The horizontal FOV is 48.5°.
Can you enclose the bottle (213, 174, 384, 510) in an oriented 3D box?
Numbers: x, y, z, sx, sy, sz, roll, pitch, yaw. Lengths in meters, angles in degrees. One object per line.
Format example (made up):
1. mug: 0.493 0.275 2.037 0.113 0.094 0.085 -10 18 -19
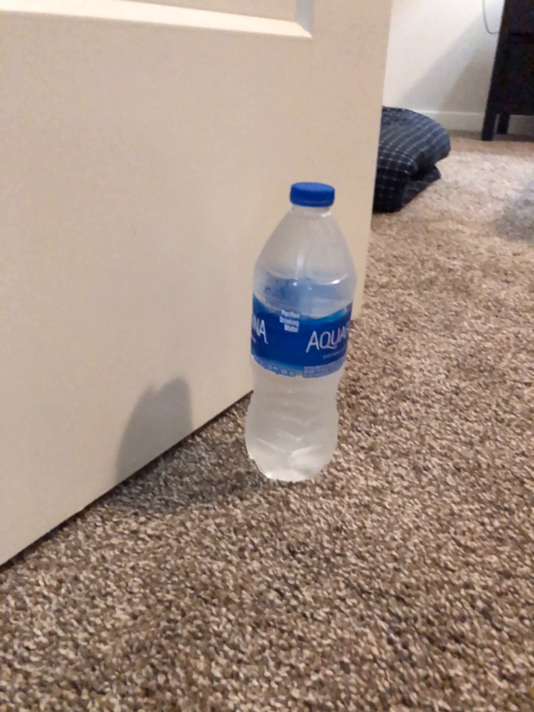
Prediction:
1. bottle: 0.017 -0.010 0.377 0.070 0.189 0.070 1 26 0
